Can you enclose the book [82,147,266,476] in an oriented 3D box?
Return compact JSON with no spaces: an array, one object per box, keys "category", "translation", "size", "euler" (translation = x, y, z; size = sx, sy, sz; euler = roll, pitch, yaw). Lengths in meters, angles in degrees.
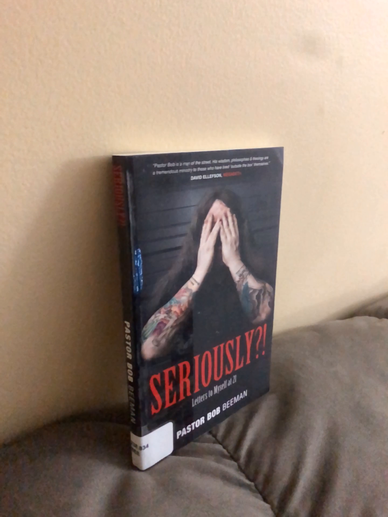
[{"category":"book","translation":[-0.004,0.029,0.308],"size":[0.137,0.205,0.023],"euler":[-16,22,-41]}]
